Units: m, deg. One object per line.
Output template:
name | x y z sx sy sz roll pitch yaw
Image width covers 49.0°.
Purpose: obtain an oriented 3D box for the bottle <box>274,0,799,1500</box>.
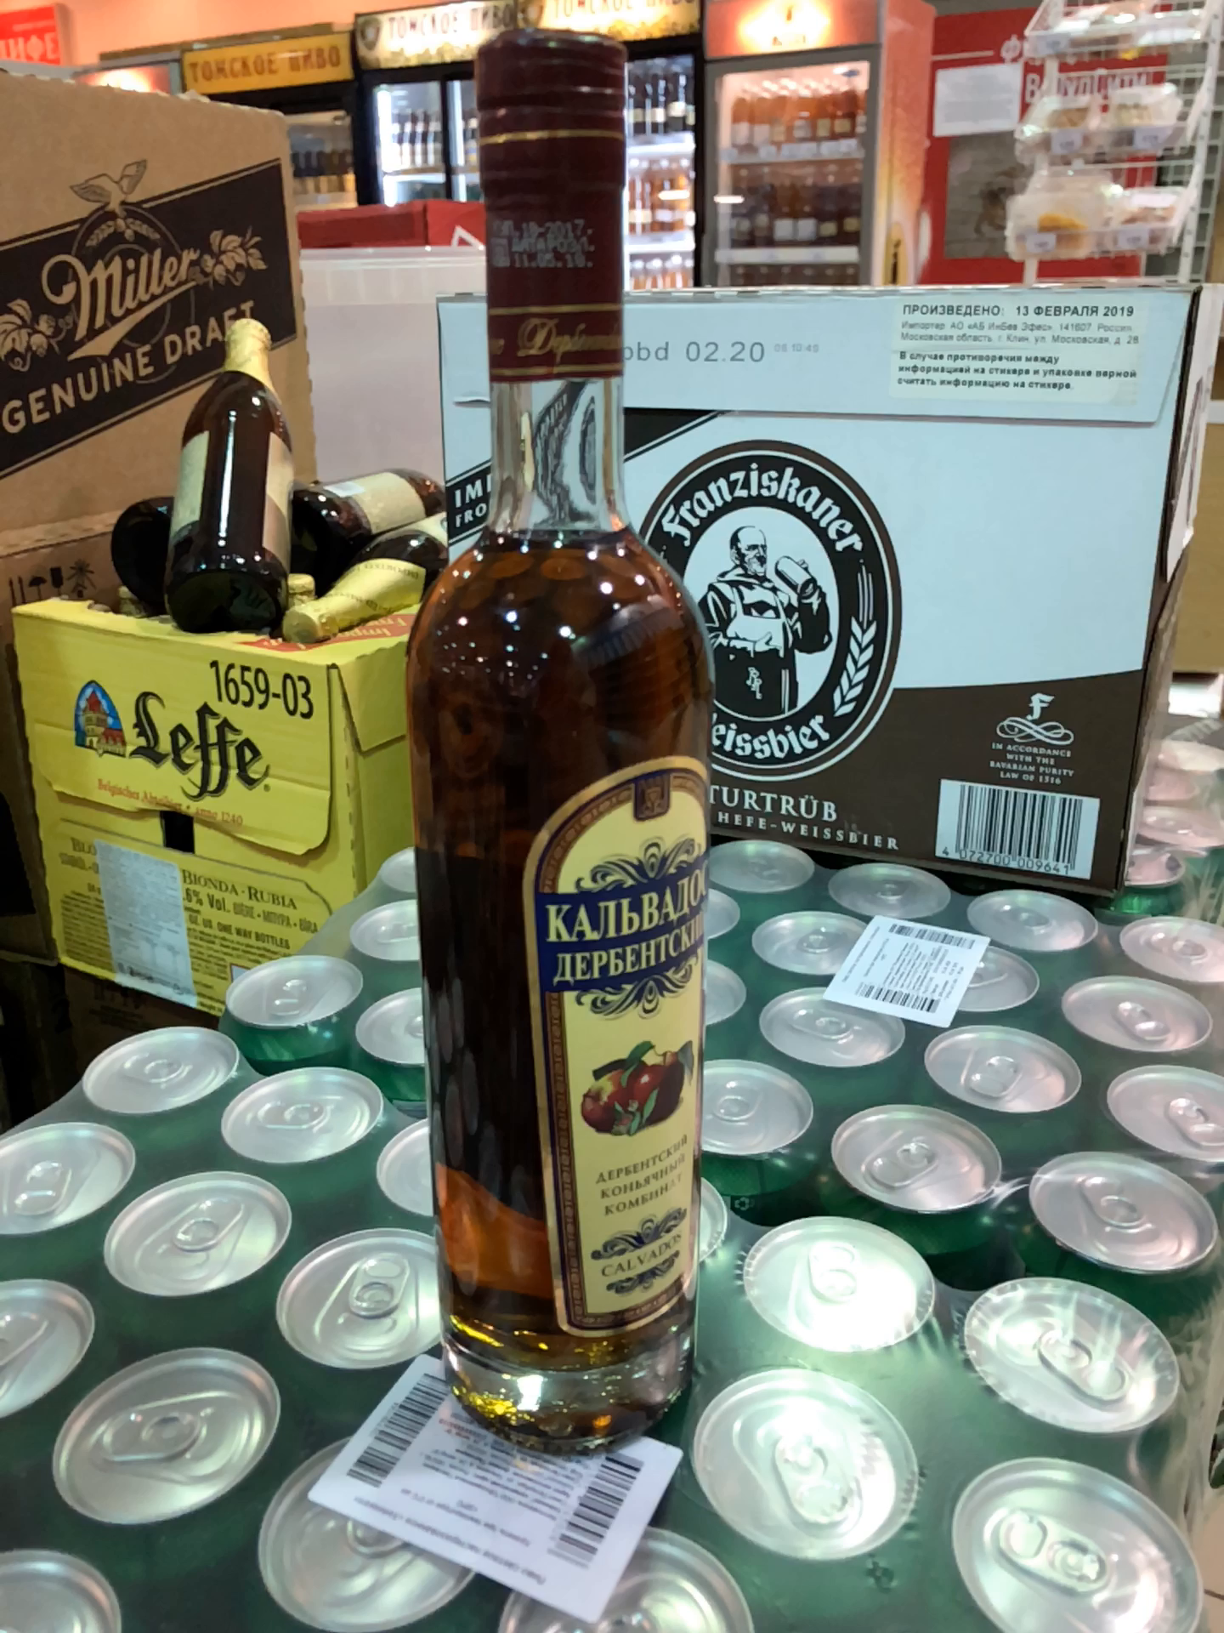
bottle | -0.012 -0.002 0.300 0.070 0.298 0.070 -1 21 0
